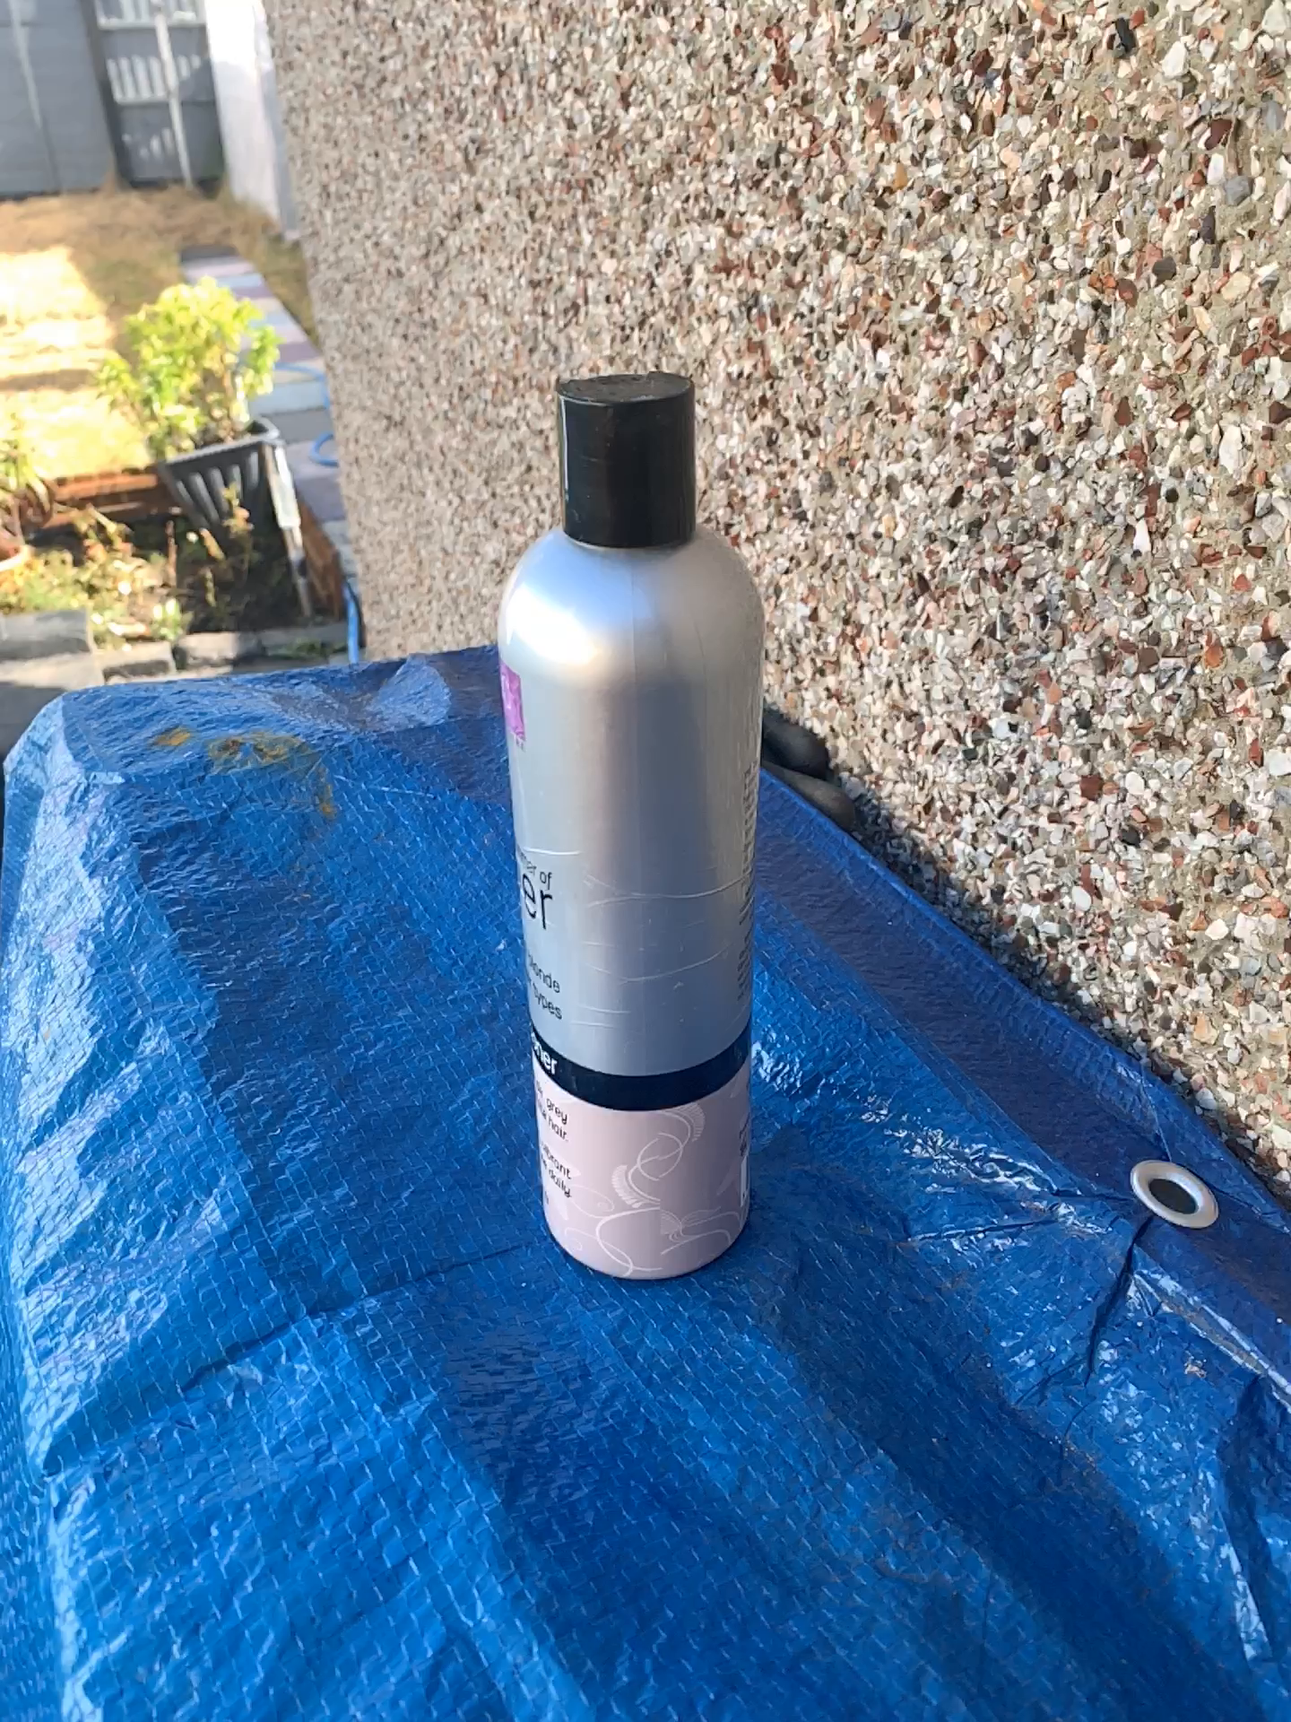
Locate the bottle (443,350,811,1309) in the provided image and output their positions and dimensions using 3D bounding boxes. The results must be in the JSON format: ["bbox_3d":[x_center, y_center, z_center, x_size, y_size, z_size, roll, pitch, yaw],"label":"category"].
[{"bbox_3d":[-0.003,-0.001,0.295,0.060,0.198,0.071,-6,31,-5],"label":"bottle"}]
